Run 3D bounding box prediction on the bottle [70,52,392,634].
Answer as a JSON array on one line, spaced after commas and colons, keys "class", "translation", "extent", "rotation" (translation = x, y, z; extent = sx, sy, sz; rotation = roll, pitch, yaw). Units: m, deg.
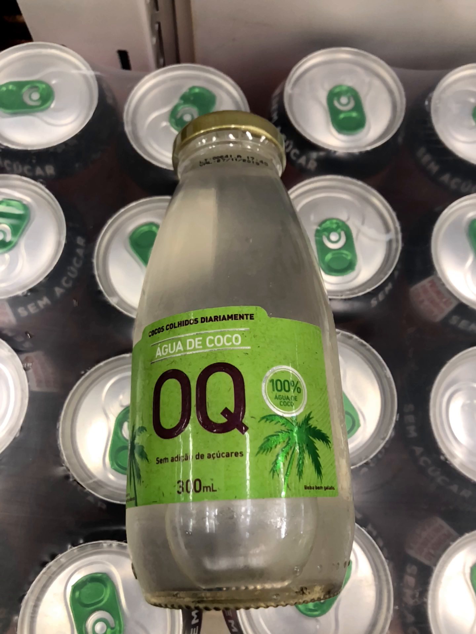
[{"class": "bottle", "translation": [0.002, 0.007, 0.167], "extent": [0.070, 0.060, 0.150], "rotation": [-7, 69, 16]}]
